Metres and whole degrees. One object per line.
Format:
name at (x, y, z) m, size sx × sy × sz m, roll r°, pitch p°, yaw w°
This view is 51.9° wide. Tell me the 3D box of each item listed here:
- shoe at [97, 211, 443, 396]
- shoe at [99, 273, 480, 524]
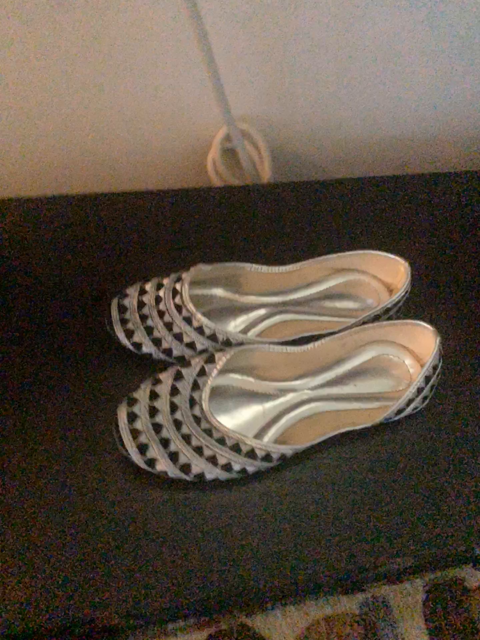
shoe at (0.021, -0.019, 0.440) m, size 0.270 × 0.079 × 0.101 m, roll -9°, pitch 57°, yaw -11°
shoe at (0.040, 0.053, 0.372) m, size 0.260 × 0.079 × 0.101 m, roll -13°, pitch 58°, yaw -14°
